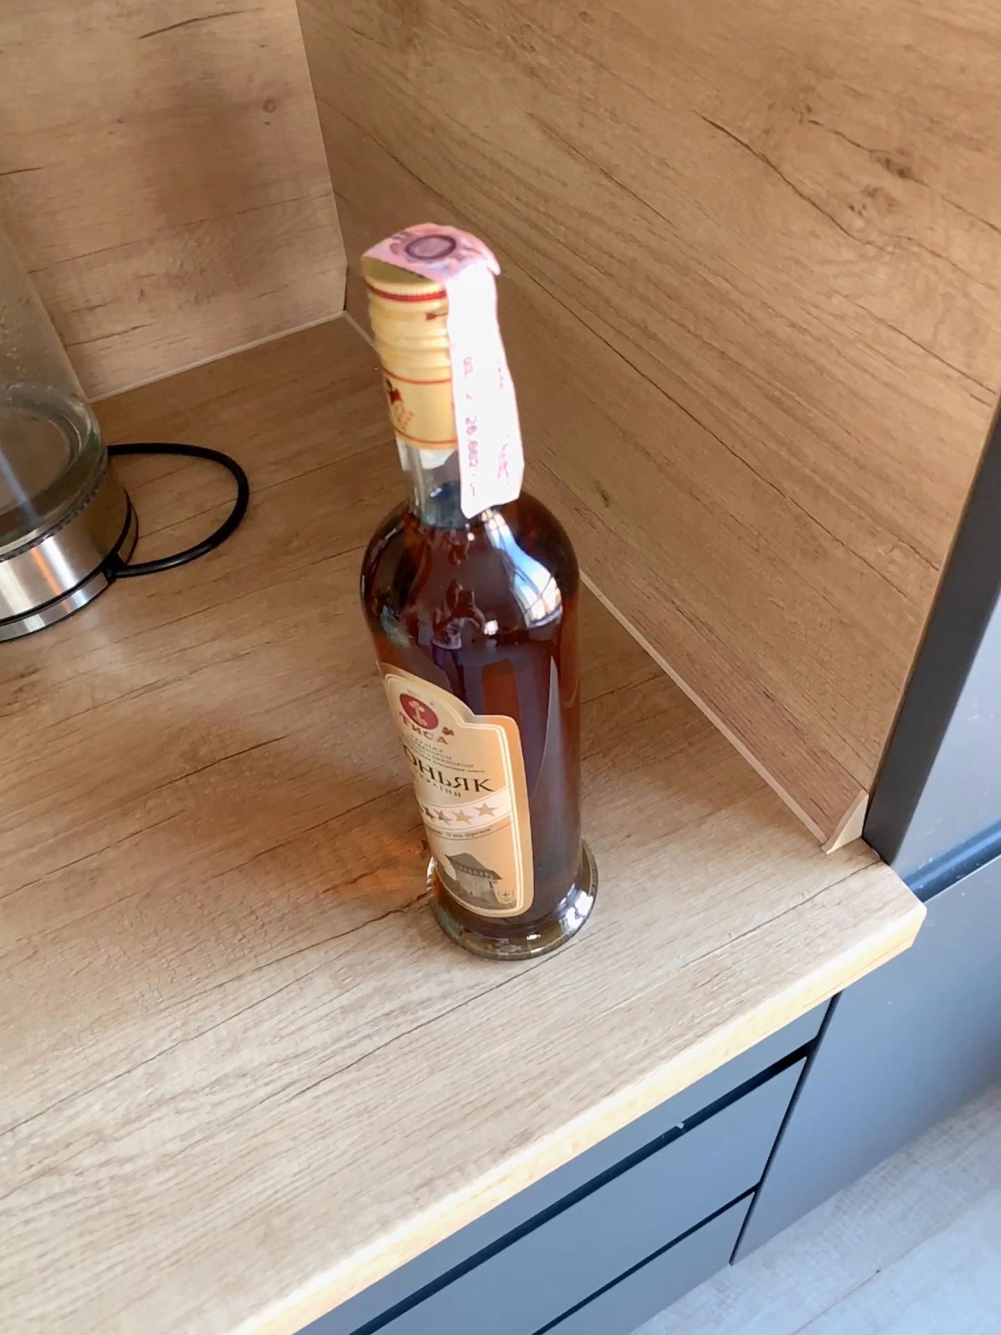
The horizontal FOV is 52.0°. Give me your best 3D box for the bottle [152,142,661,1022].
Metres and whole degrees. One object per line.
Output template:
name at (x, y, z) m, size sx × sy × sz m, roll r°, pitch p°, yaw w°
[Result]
bottle at (-0.009, 0.003, 0.317) m, size 0.080 × 0.279 × 0.070 m, roll 25°, pitch 56°, yaw 25°
